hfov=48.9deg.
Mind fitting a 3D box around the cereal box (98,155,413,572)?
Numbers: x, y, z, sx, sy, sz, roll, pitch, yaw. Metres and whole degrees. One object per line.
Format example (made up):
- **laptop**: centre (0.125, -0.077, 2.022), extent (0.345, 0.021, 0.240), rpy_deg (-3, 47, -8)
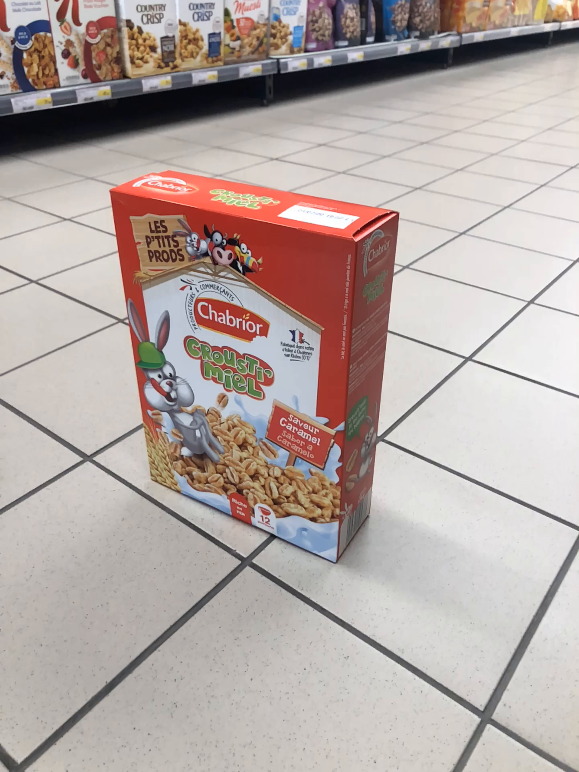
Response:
- **cereal box**: centre (-0.028, -0.017, 0.485), extent (0.200, 0.268, 0.070), rpy_deg (19, 36, 27)
